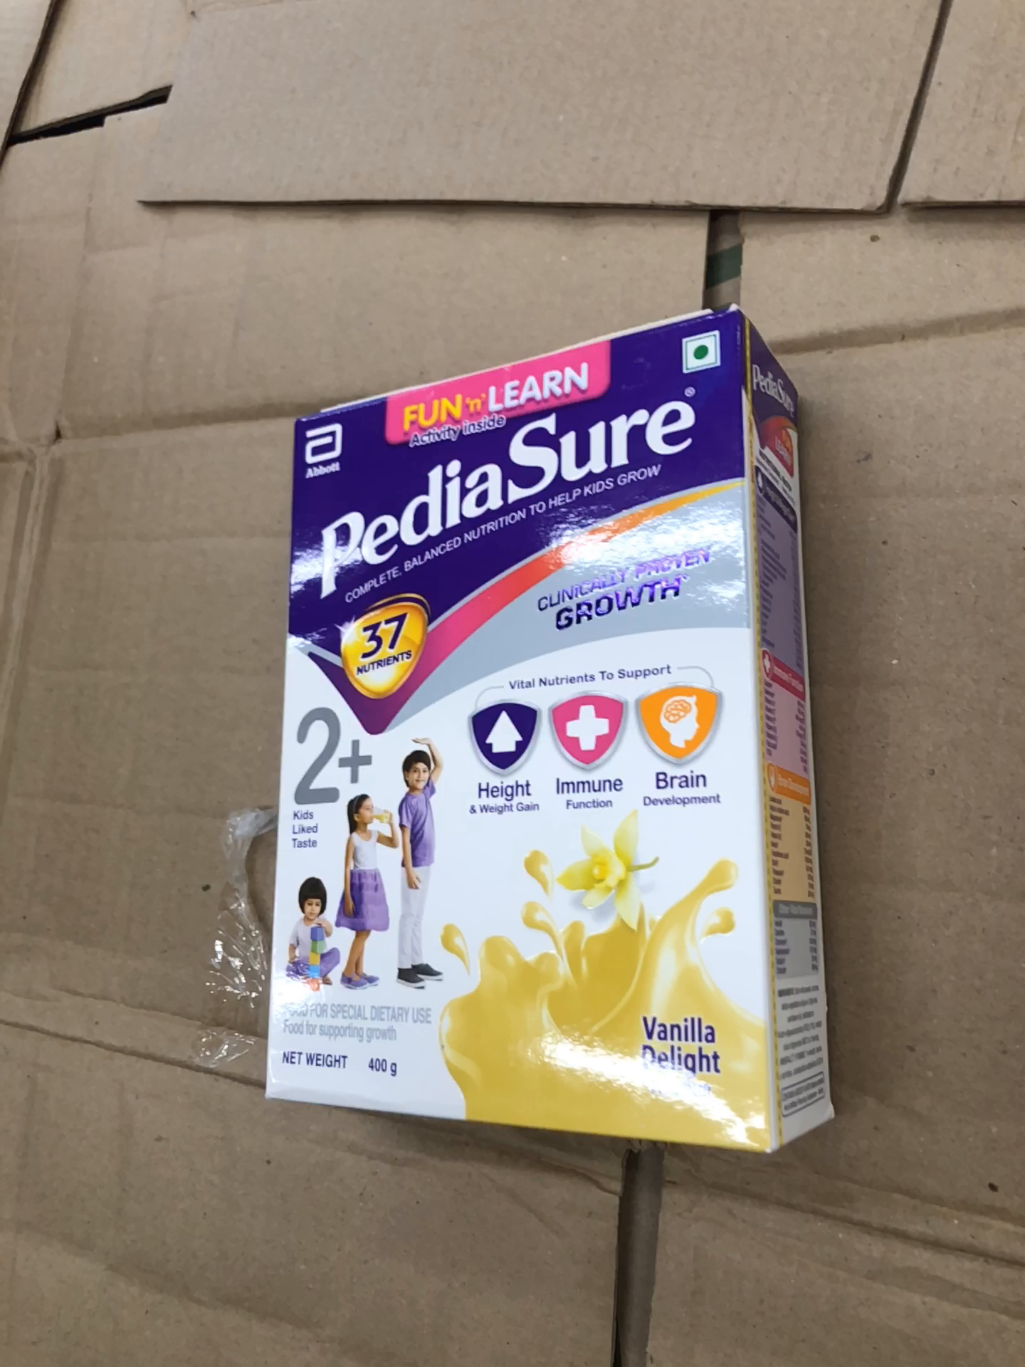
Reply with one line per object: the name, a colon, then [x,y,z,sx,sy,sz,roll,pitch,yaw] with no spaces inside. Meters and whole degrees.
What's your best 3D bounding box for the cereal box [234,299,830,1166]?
cereal box: [0.004,0.014,0.301,0.140,0.050,0.190,-5,76,28]
